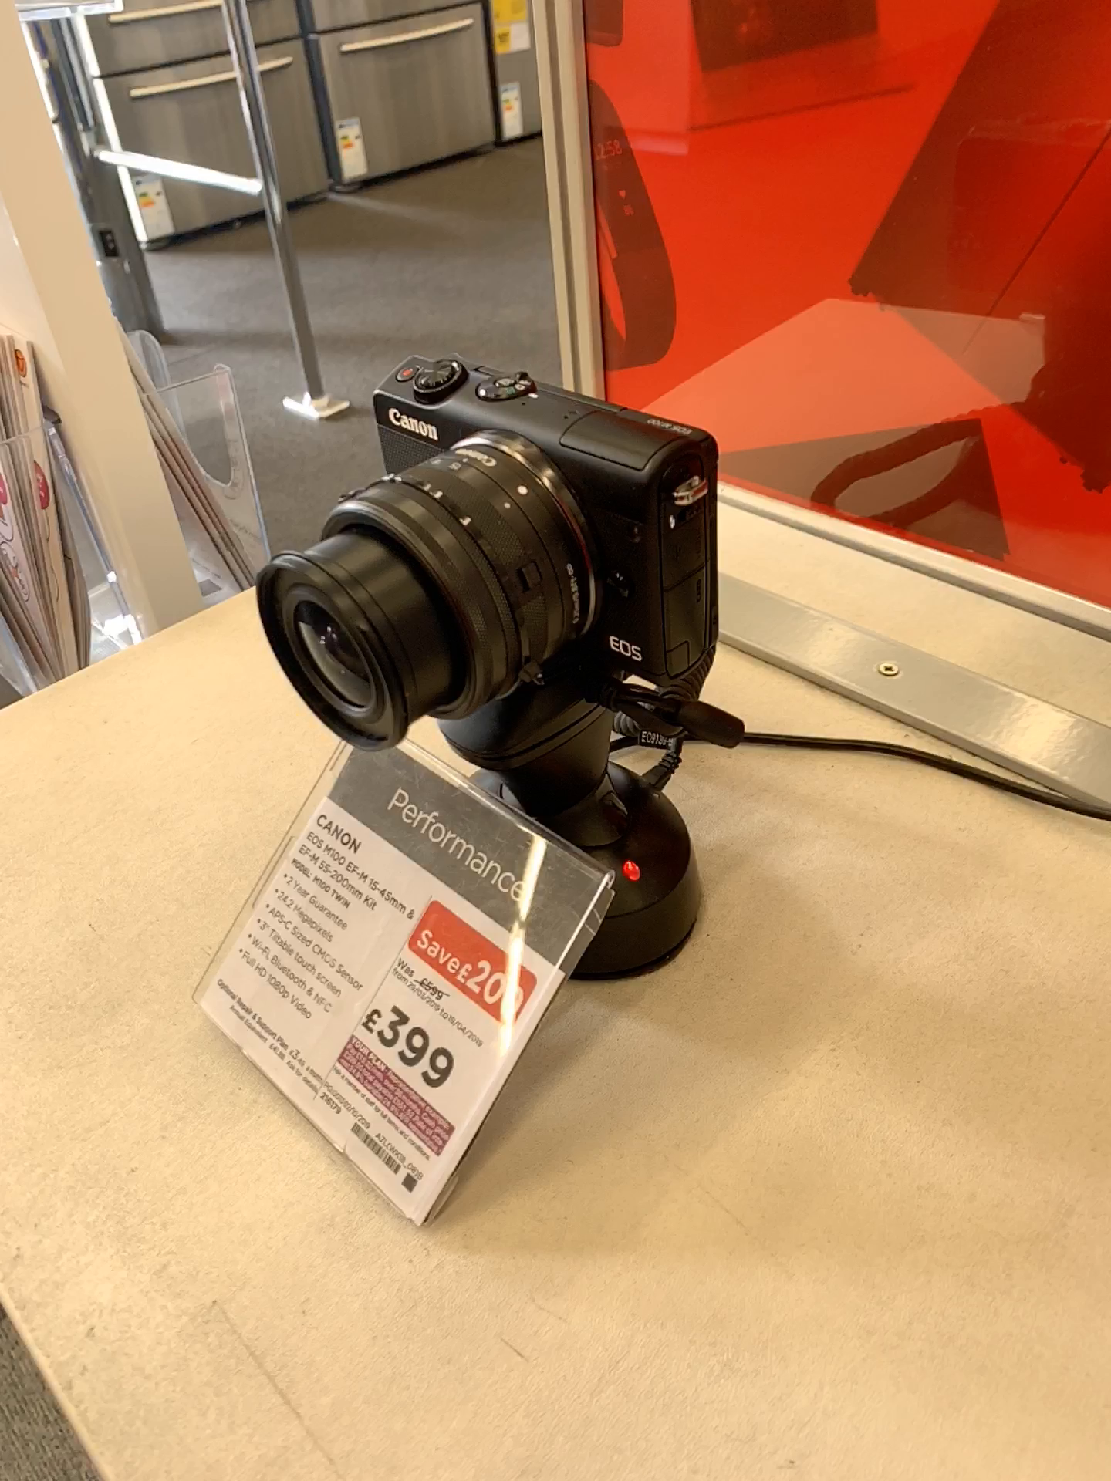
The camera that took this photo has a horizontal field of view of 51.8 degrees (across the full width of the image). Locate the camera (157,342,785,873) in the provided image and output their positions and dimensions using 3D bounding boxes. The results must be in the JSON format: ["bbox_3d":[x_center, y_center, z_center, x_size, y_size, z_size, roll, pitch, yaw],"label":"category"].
[{"bbox_3d":[-0.020,-0.045,0.302,0.121,0.069,0.100,28,49,35],"label":"camera"}]
